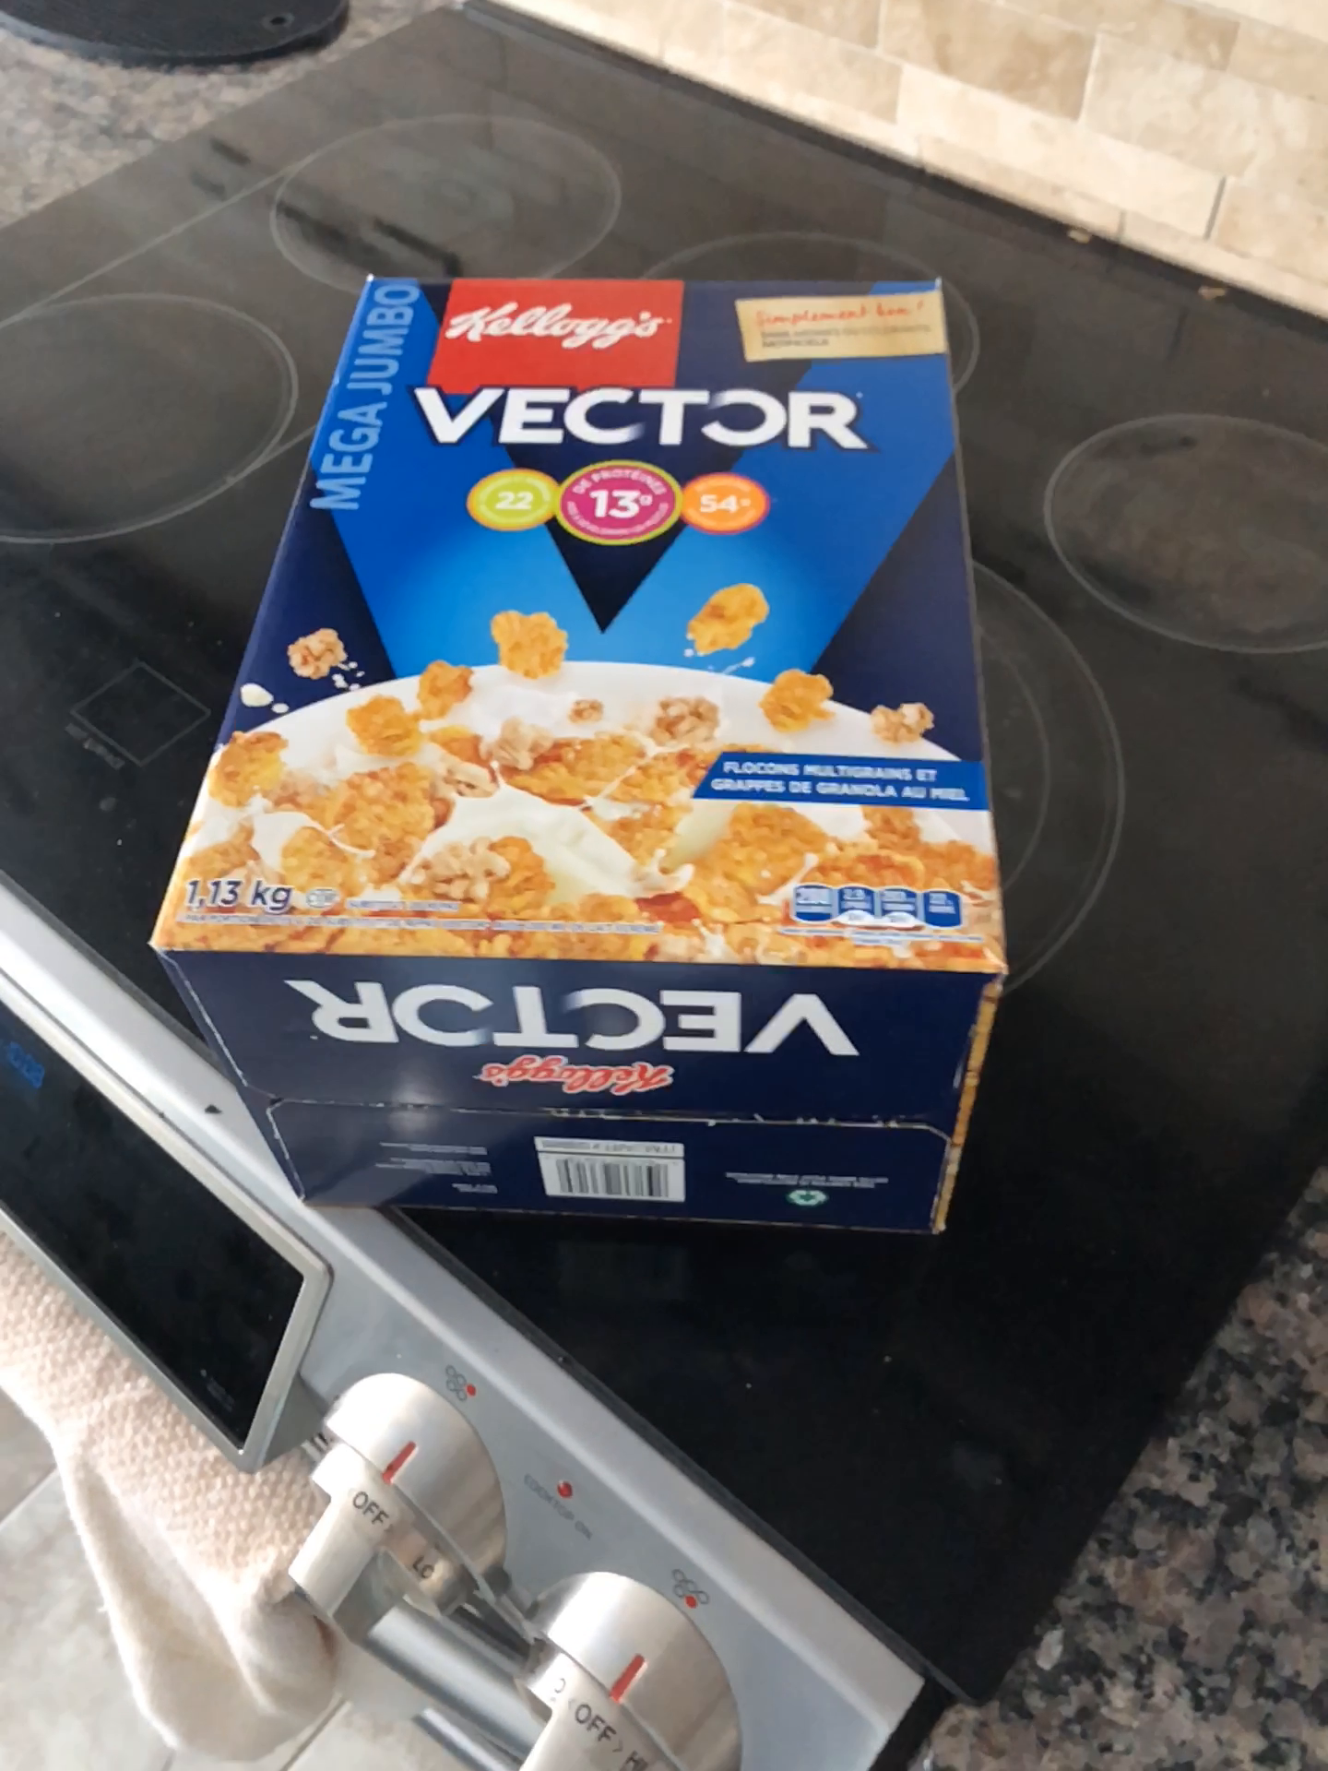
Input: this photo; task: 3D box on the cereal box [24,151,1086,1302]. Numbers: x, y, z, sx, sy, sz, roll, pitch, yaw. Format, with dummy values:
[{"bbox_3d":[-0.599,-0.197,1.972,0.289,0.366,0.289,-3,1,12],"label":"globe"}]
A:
[{"bbox_3d":[-0.013,-0.057,0.460,0.220,0.170,0.311,2,57,3],"label":"cereal box"}]
